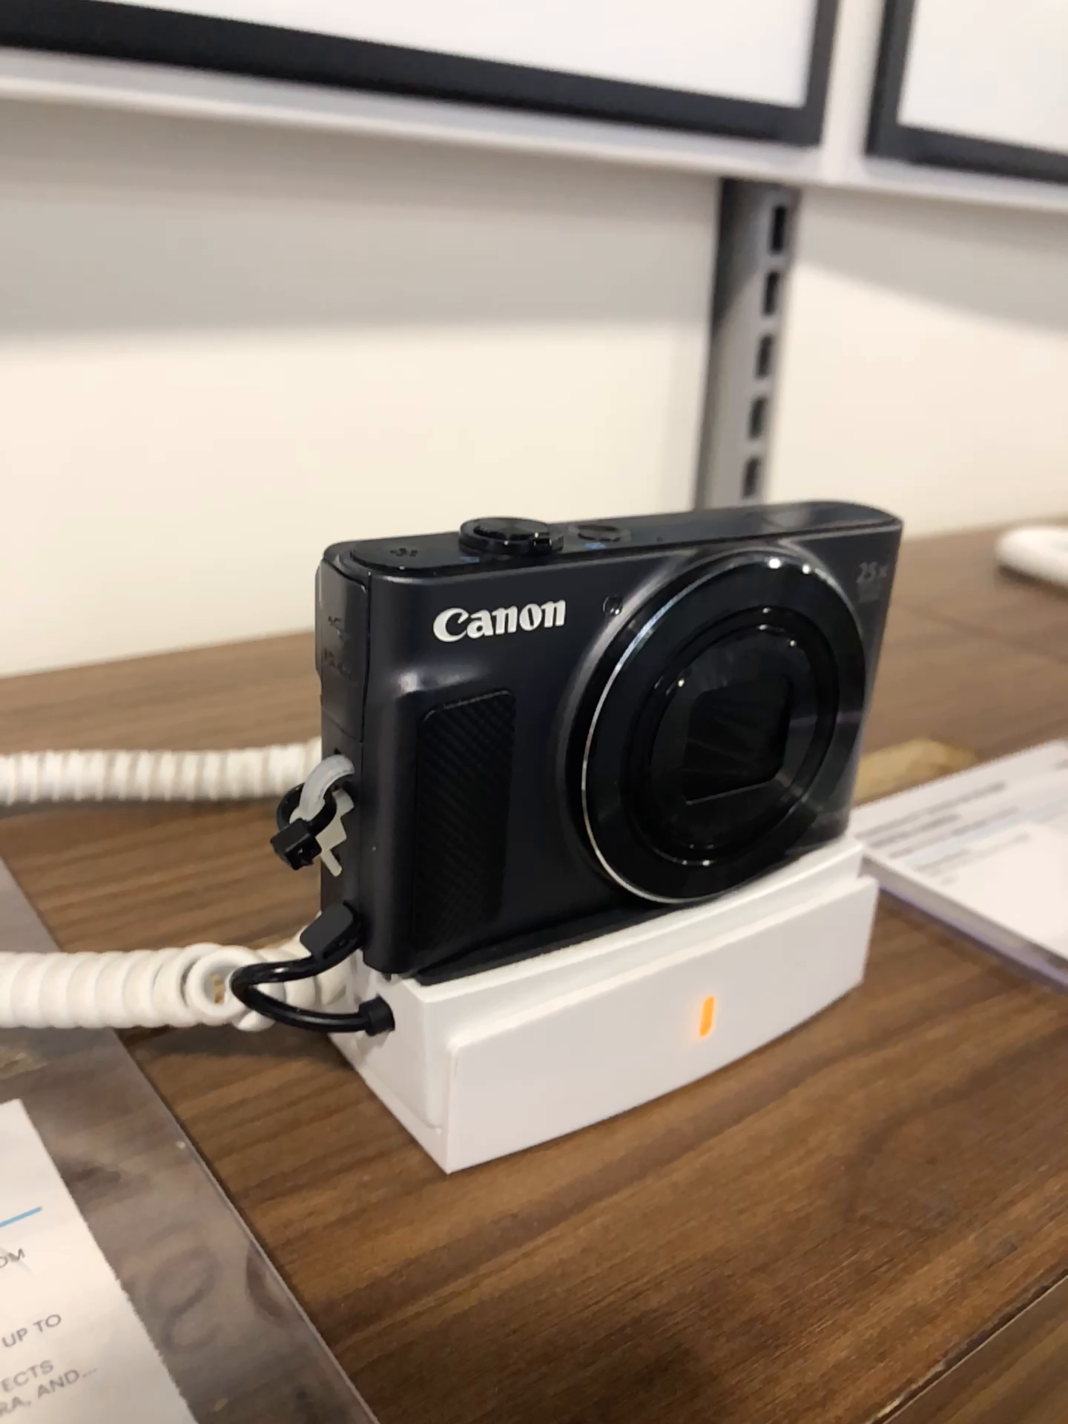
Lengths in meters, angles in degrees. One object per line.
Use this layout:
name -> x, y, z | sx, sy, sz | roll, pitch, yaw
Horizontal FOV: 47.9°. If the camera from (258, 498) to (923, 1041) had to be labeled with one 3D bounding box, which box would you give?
camera -> 0.011, 0.002, 0.187 | 0.100, 0.060, 0.030 | -11, 23, -33
